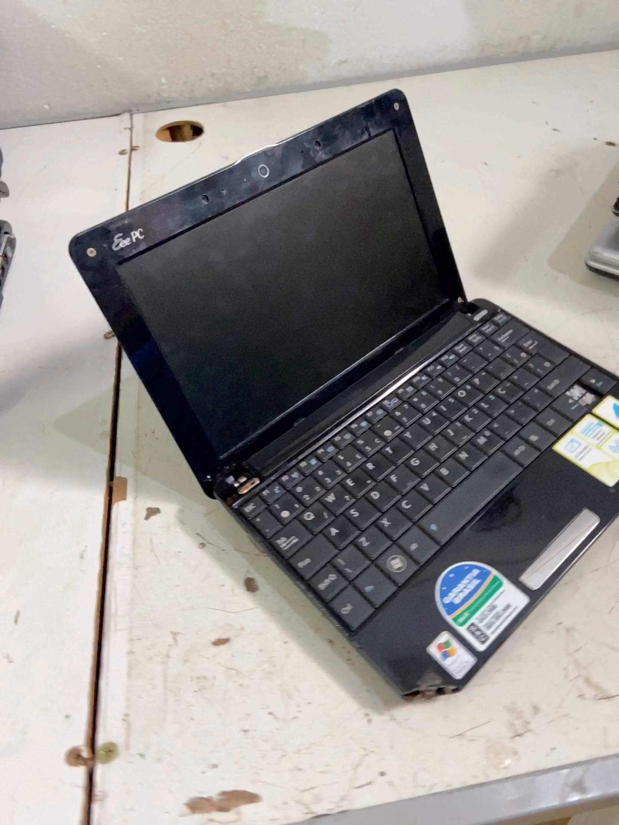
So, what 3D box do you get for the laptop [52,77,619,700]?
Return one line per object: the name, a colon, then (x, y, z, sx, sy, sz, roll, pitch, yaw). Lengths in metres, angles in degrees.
laptop: (0.055, -0.047, 0.372, 0.259, 0.131, 0.265, -35, 57, -24)
